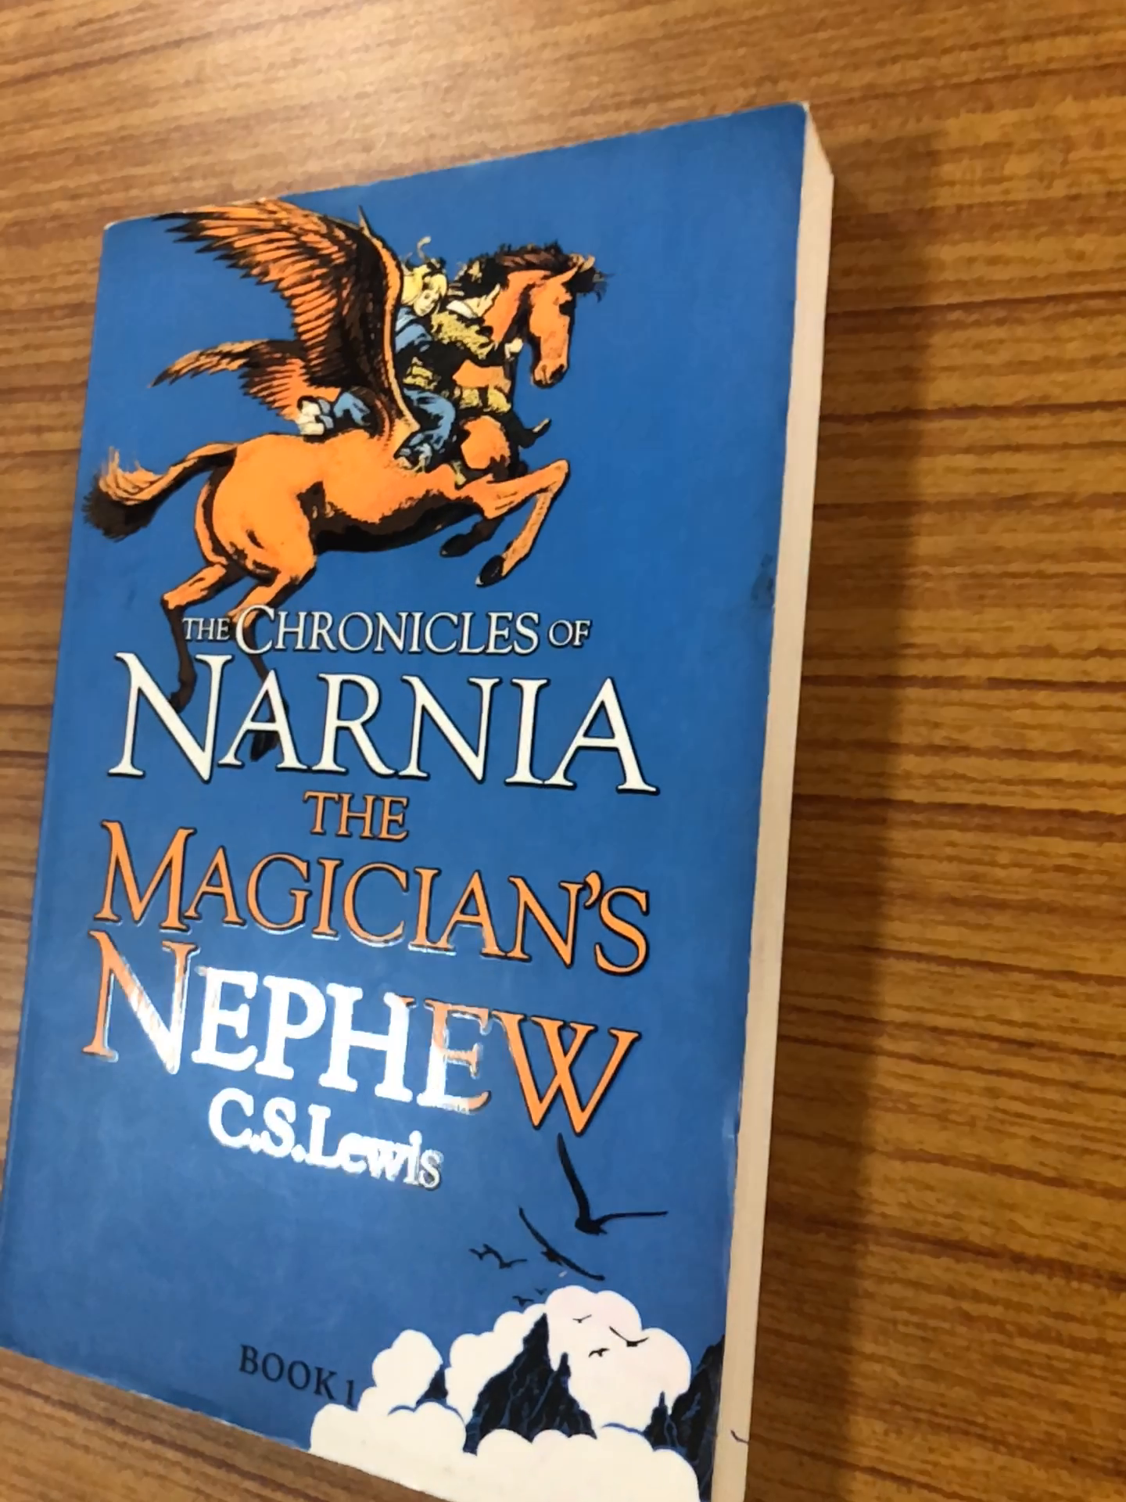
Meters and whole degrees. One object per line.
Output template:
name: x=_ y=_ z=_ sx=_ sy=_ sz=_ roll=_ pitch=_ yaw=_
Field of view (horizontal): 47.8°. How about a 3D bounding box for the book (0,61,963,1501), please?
book: x=-0.019 y=0.008 z=0.194 sx=0.140 sy=0.030 sz=0.190 roll=3 pitch=86 yaw=25
